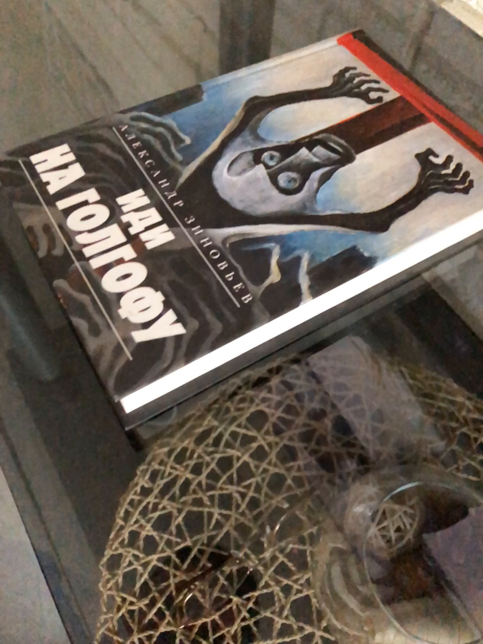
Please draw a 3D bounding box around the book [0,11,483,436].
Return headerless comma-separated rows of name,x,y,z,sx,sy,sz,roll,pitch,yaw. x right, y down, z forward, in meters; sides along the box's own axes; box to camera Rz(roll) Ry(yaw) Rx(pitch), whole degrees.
book,0.004,-0.062,0.234,0.200,0.030,0.140,-25,64,-18
